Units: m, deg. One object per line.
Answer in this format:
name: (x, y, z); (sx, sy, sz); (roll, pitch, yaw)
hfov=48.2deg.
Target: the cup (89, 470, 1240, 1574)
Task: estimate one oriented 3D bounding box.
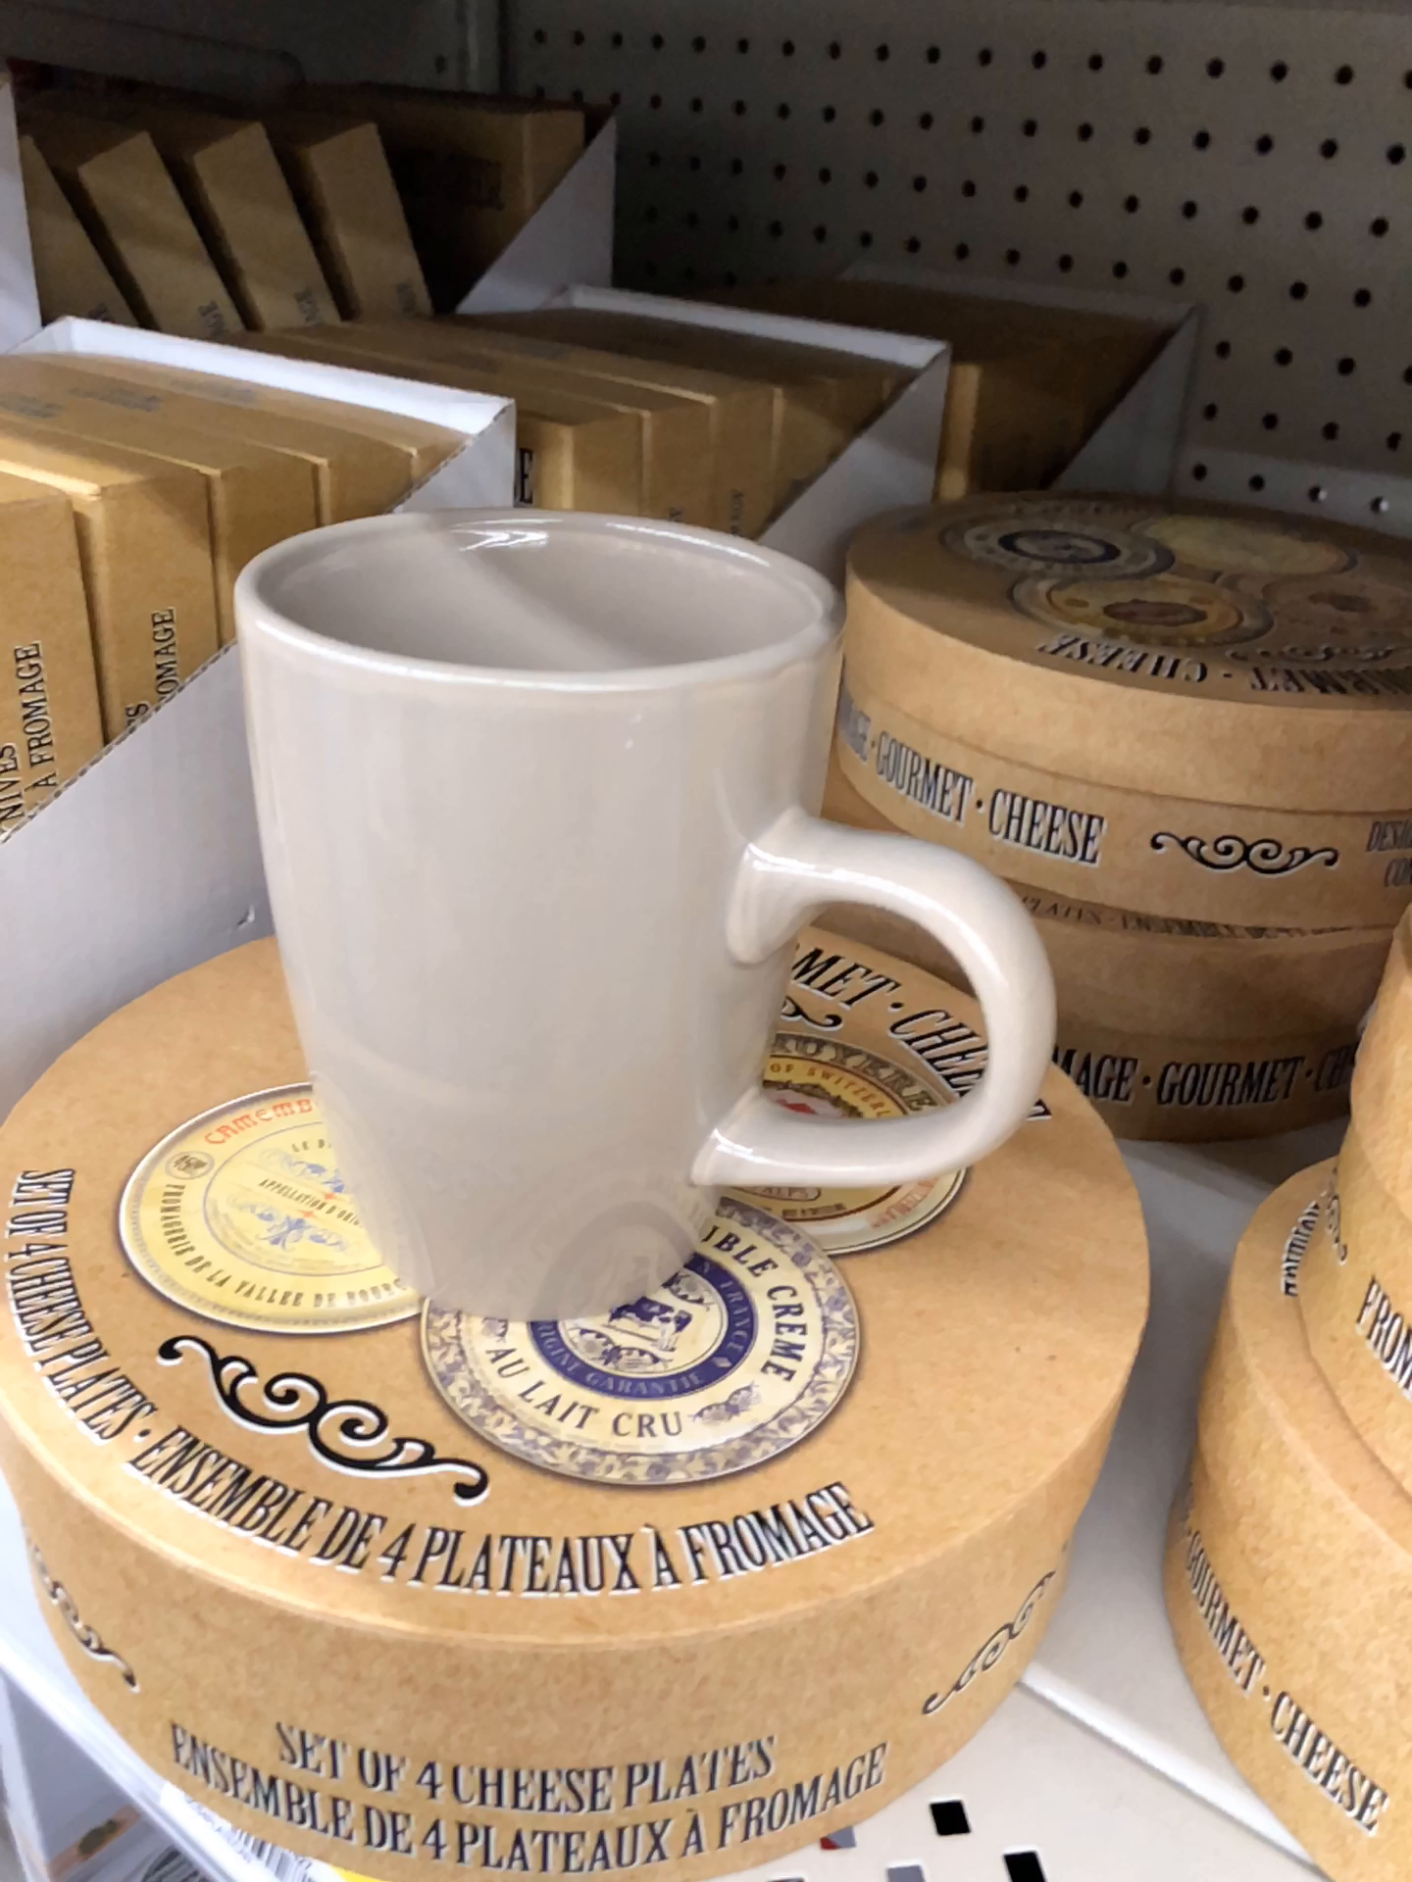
cup: (-0.010, -0.003, 0.238); (0.130, 0.100, 0.090); (24, 34, 34)
